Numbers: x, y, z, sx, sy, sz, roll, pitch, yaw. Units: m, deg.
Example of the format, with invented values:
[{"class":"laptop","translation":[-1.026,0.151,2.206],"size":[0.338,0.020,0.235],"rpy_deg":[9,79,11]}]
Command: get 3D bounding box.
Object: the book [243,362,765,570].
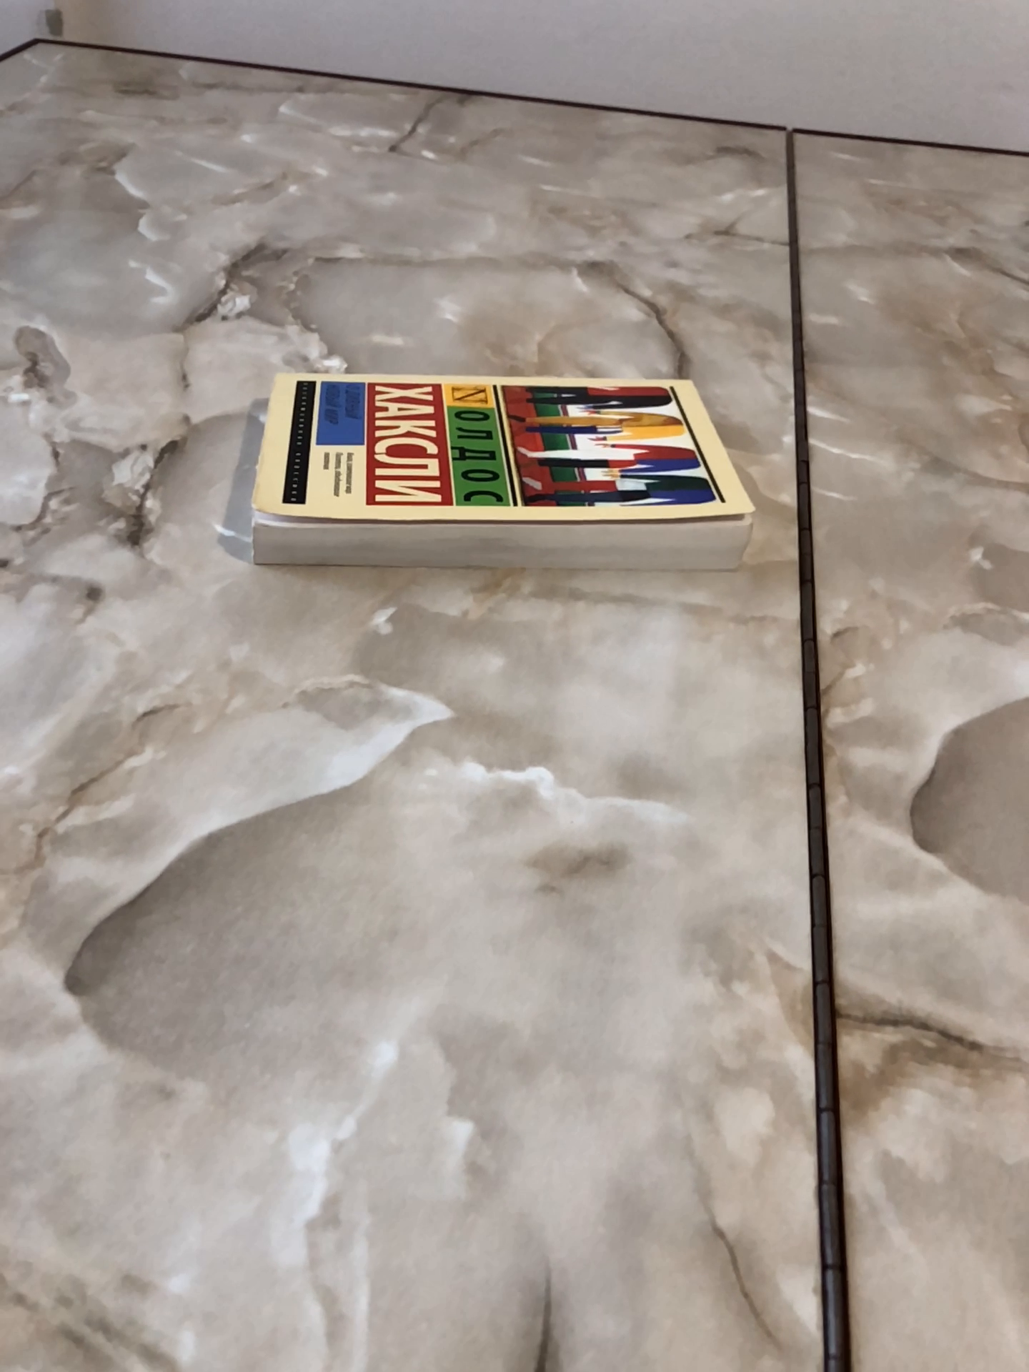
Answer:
[{"class":"book","translation":[-0.007,-0.090,0.449],"size":[0.184,0.020,0.121],"rpy_deg":[-1,42,-6]}]
